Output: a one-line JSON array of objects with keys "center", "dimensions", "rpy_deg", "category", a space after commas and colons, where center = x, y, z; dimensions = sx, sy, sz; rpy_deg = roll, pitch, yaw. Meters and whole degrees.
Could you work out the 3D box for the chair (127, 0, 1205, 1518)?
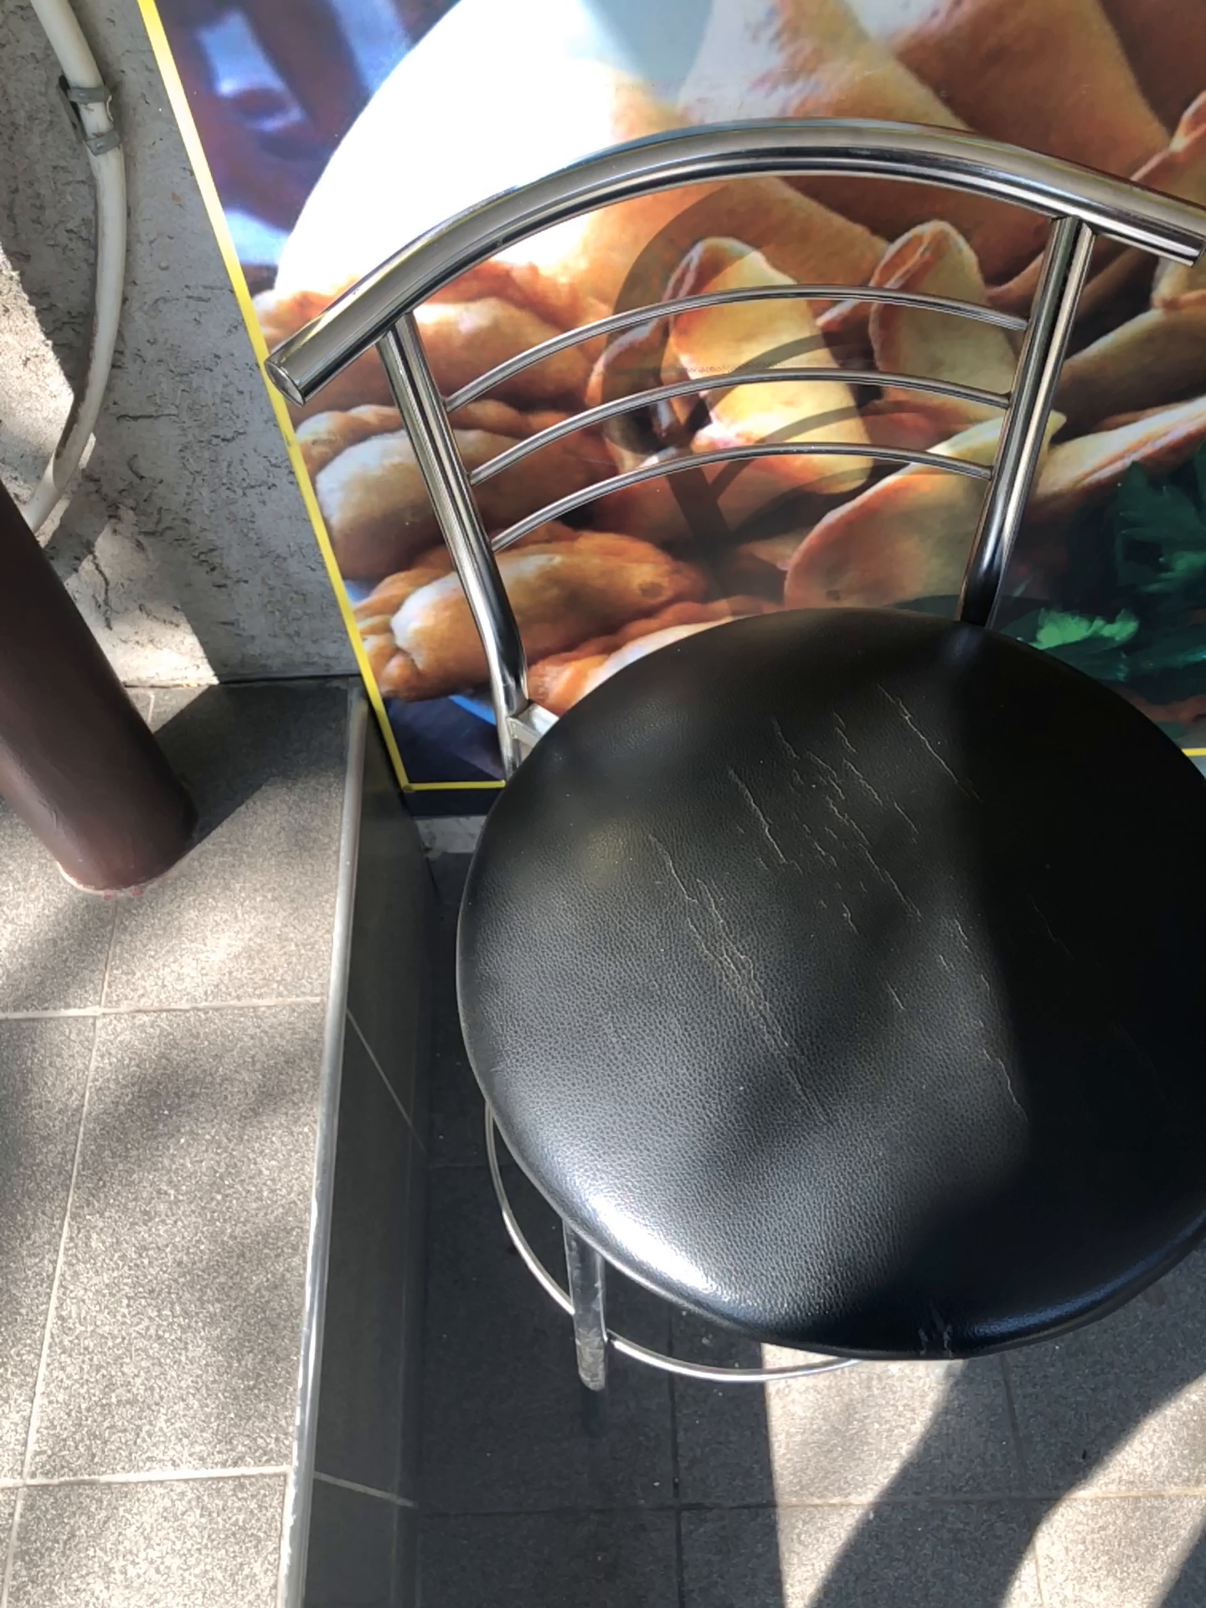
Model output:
[{"center": [0.117, 0.144, 0.989], "dimensions": [0.510, 1.098, 0.501], "rpy_deg": [-16, 59, -7], "category": "chair"}]
